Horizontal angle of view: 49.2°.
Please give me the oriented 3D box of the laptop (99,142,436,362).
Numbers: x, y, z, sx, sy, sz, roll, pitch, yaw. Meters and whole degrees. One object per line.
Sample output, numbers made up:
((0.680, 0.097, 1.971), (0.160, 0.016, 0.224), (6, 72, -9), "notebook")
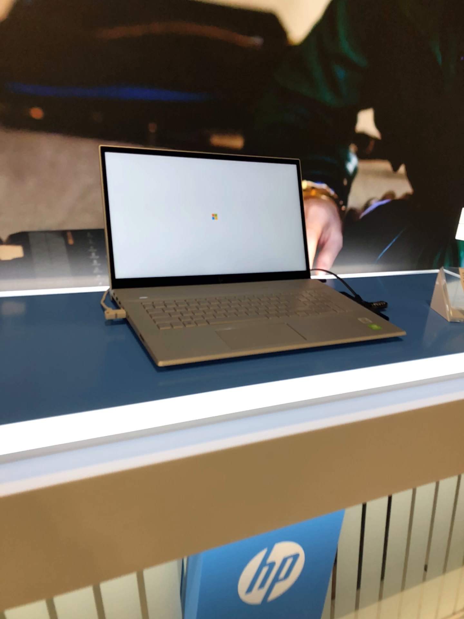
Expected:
((0.021, -0.126, 0.834), (0.400, 0.217, 0.385), (-4, 24, -25), "laptop")
